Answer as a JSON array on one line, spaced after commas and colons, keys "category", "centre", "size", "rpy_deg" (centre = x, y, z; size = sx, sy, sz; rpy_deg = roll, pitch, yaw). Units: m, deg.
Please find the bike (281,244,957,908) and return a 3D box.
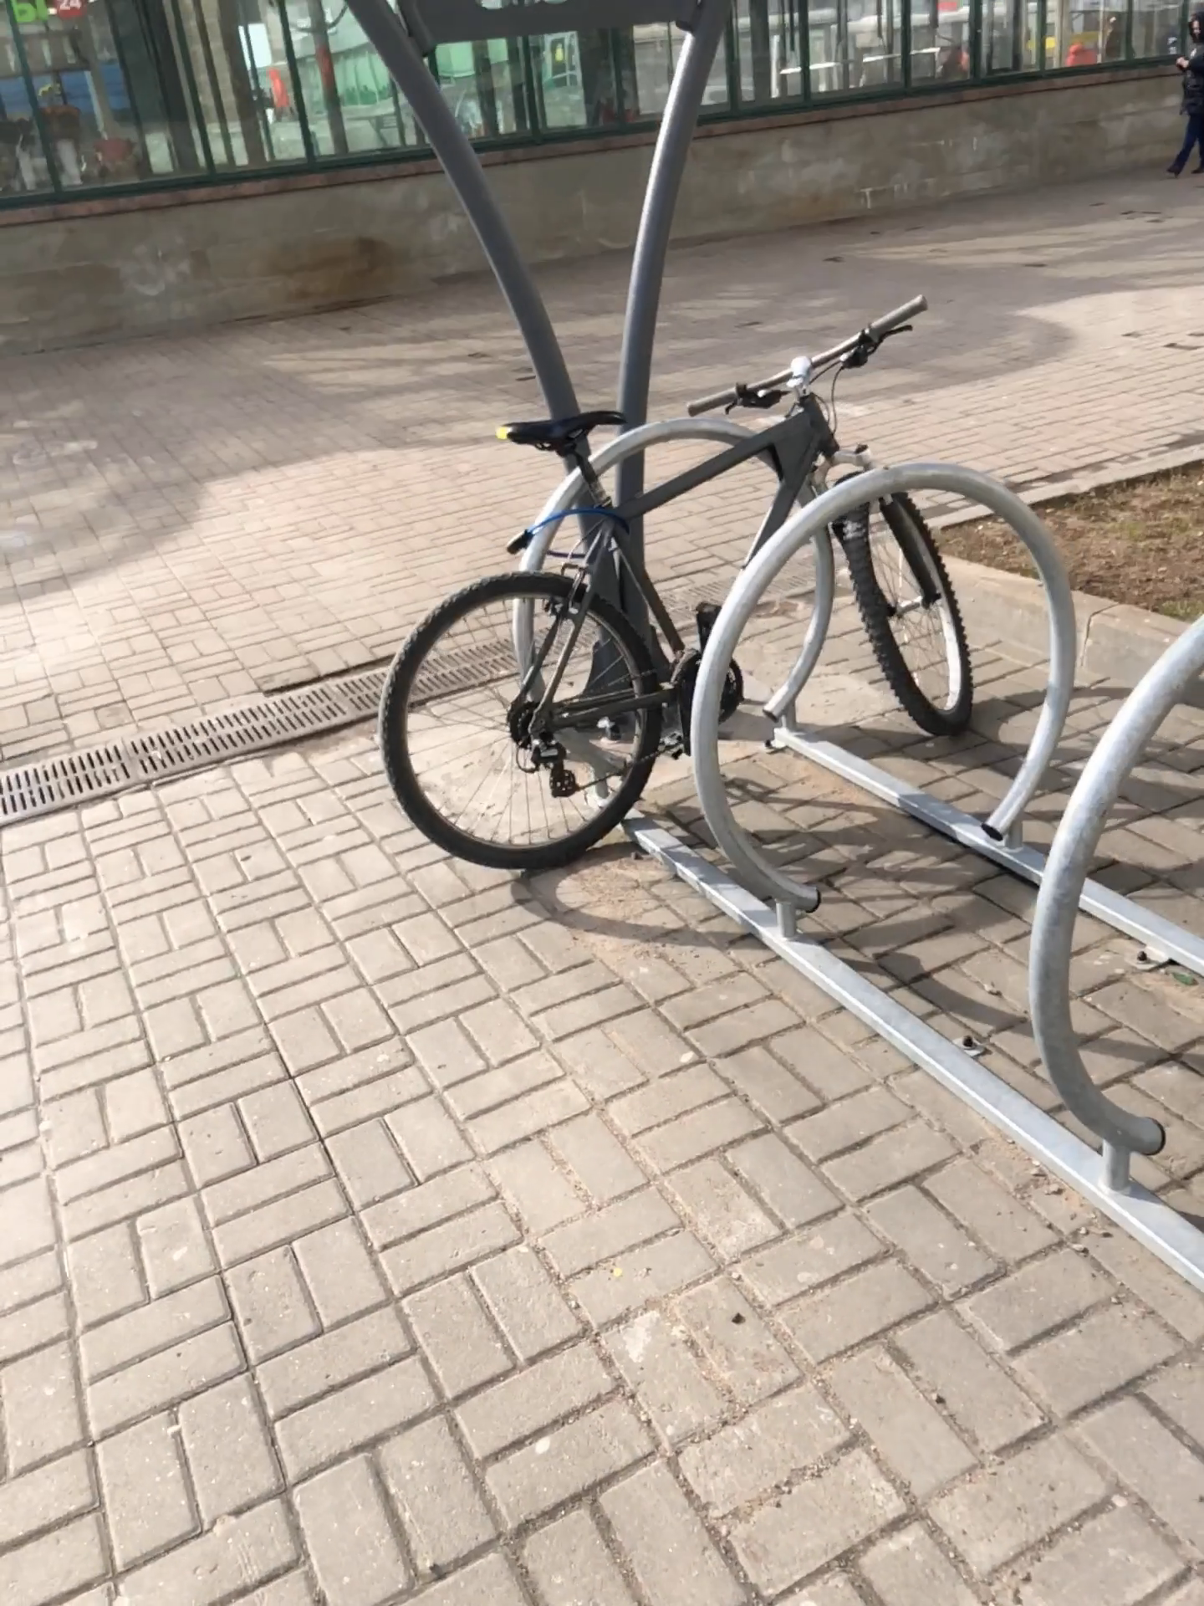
[{"category": "bike", "centre": [0.131, -0.642, 3.111], "size": [1.615, 0.979, 0.563], "rpy_deg": [-25, 32, -28]}]
